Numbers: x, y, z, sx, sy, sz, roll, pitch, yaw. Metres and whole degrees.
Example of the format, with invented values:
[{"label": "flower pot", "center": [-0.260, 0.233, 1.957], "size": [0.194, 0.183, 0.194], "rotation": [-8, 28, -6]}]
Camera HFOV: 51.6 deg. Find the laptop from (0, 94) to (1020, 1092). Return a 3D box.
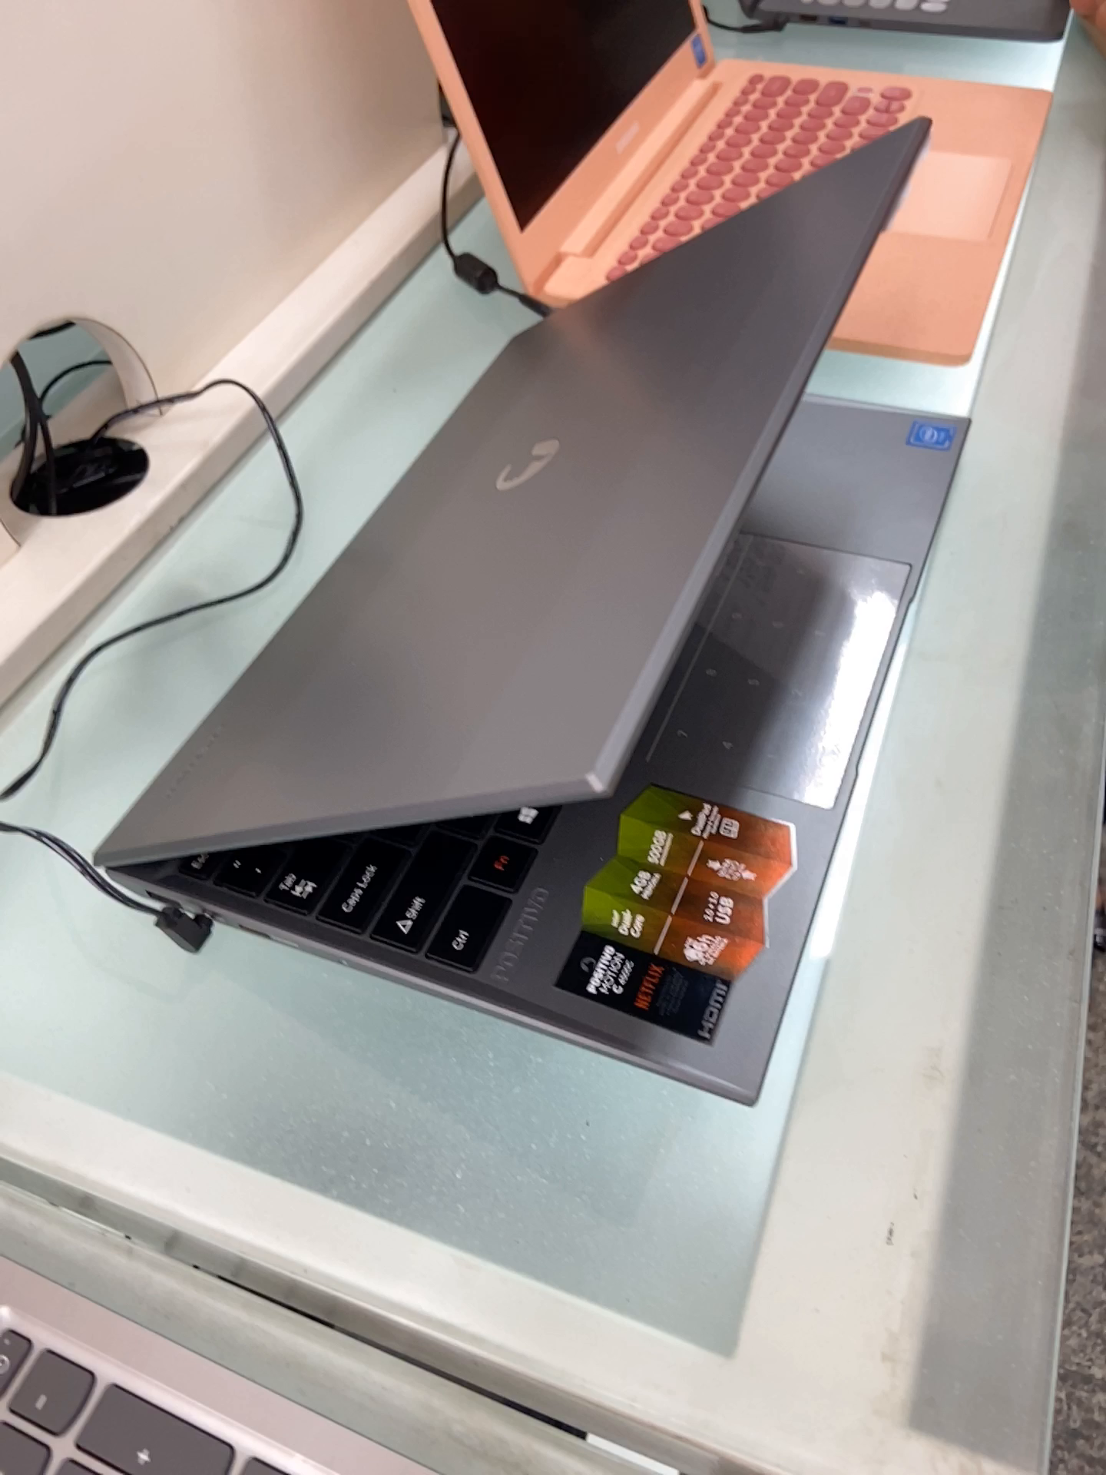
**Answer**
[{"label": "laptop", "center": [0.012, -0.088, 0.392], "size": [0.210, 0.113, 0.335], "rotation": [15, 52, 18]}]
